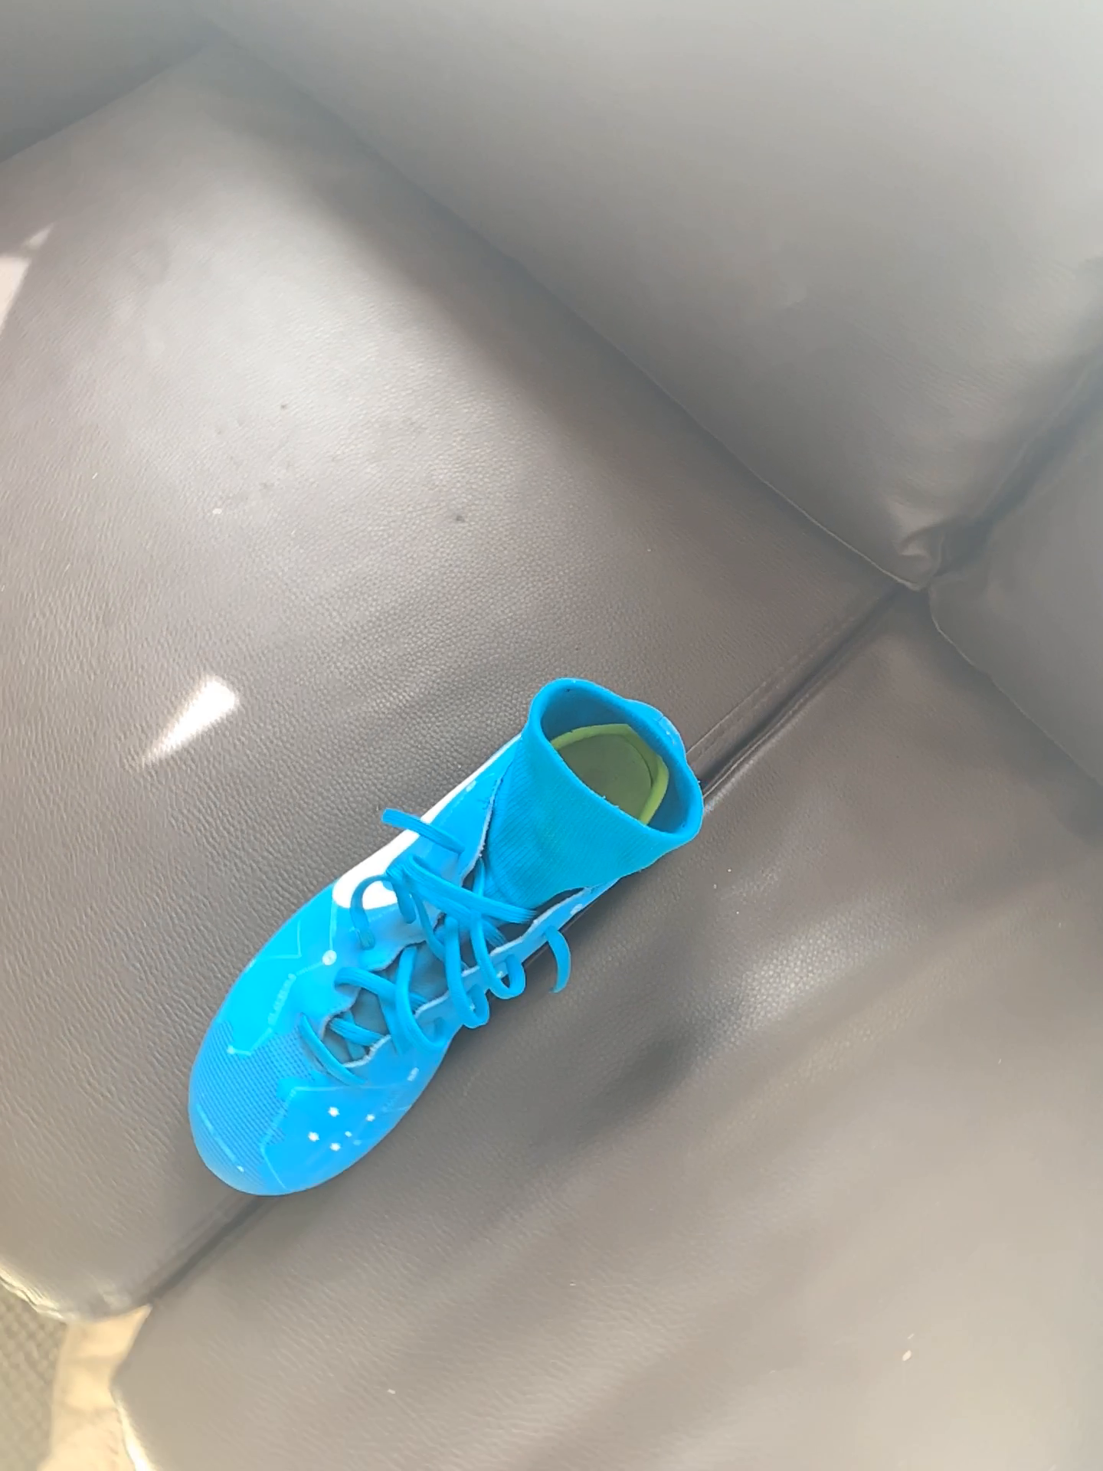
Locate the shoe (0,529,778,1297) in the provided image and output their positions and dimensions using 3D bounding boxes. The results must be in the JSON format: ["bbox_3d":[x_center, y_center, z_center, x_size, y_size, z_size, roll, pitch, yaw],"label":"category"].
[{"bbox_3d":[-0.049,0.061,0.416,0.250,0.120,0.098,-43,78,-13],"label":"shoe"}]
